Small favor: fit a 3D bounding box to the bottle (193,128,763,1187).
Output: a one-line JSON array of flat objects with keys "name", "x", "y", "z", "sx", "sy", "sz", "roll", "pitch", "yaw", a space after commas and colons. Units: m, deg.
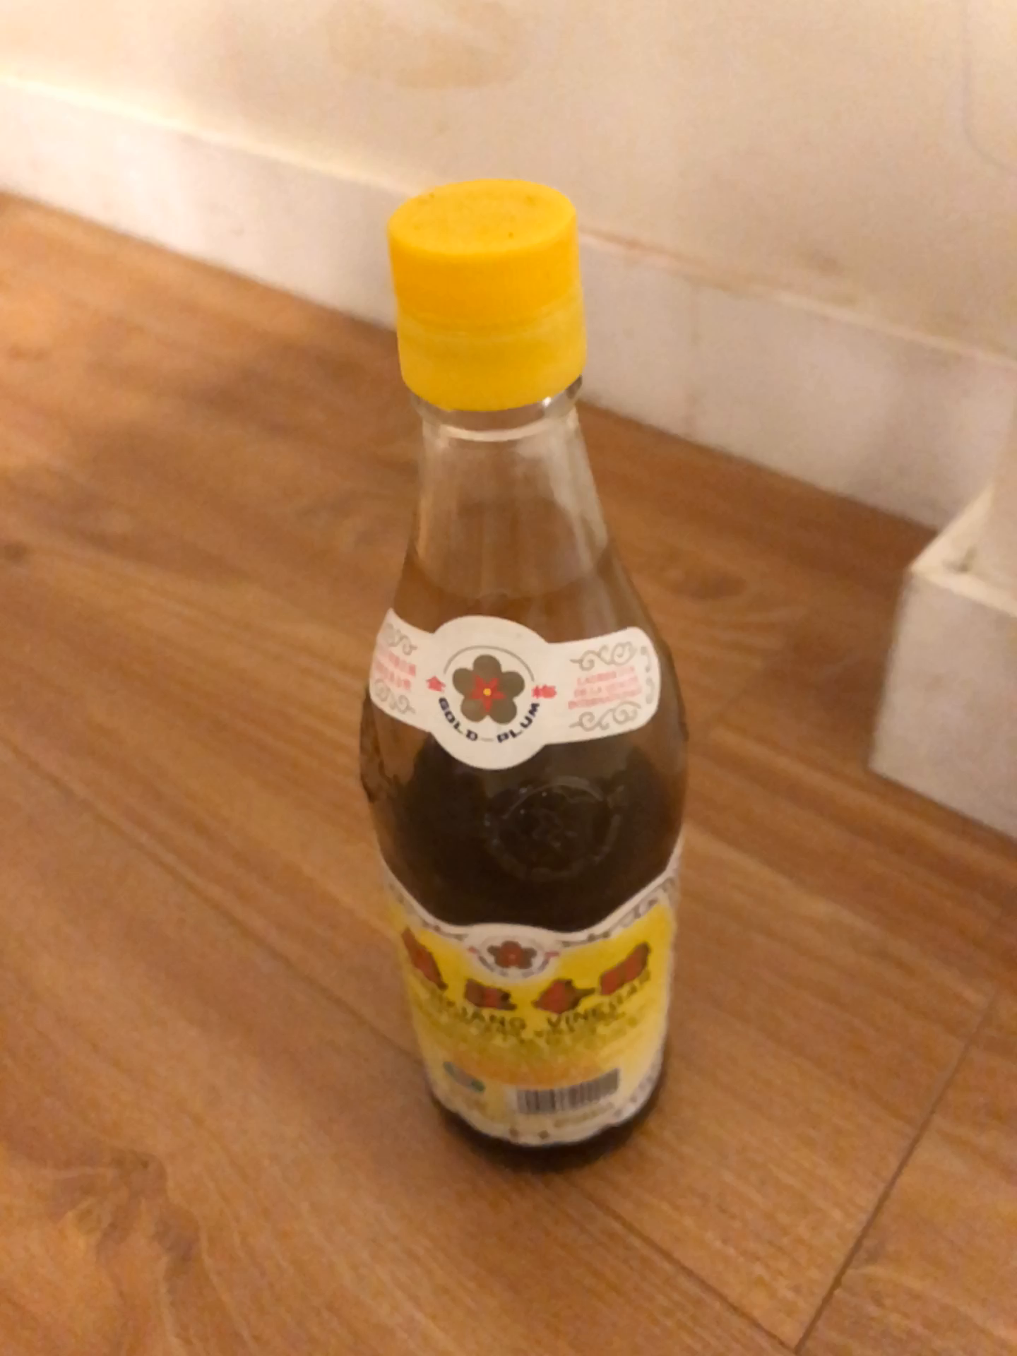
[{"name": "bottle", "x": 0.006, "y": 0.017, "z": 0.241, "sx": 0.070, "sy": 0.228, "sz": 0.070, "roll": -2, "pitch": 42, "yaw": 2}]
